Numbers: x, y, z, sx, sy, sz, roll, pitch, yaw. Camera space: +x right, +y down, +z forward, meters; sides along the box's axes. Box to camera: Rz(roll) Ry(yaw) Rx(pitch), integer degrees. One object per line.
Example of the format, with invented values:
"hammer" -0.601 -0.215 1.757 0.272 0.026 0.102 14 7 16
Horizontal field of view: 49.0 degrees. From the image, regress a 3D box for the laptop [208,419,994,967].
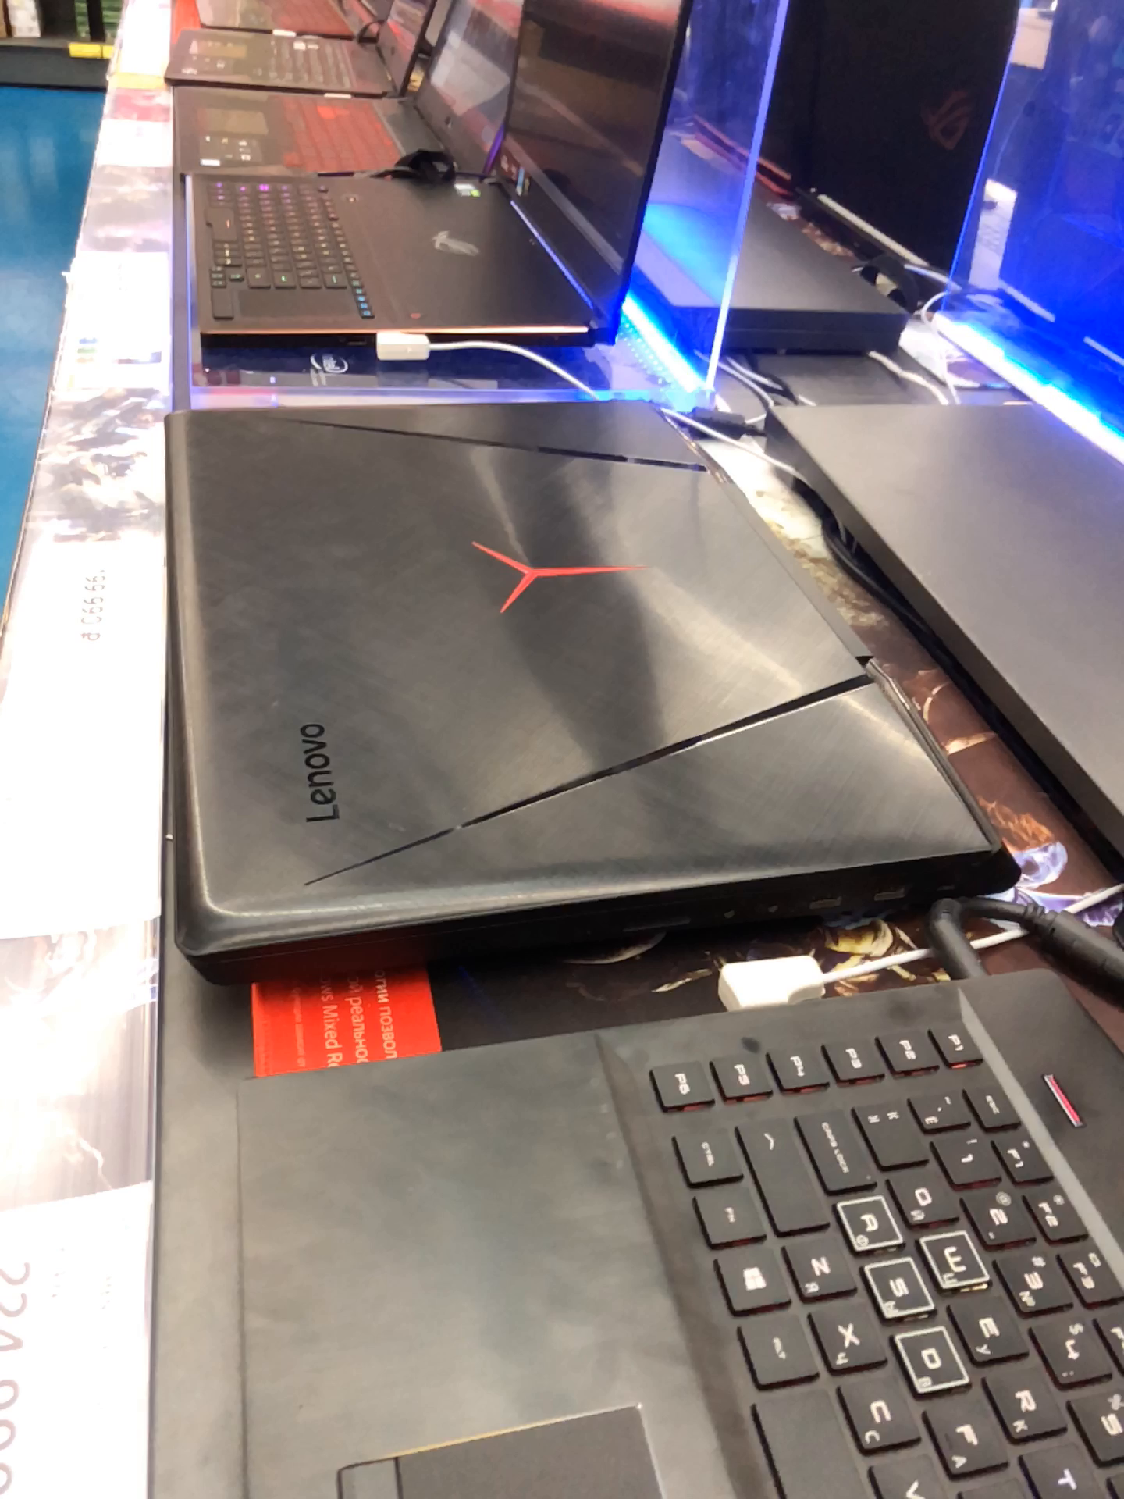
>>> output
"laptop" -0.020 -0.067 0.575 0.269 0.005 0.401 -5 39 -14
